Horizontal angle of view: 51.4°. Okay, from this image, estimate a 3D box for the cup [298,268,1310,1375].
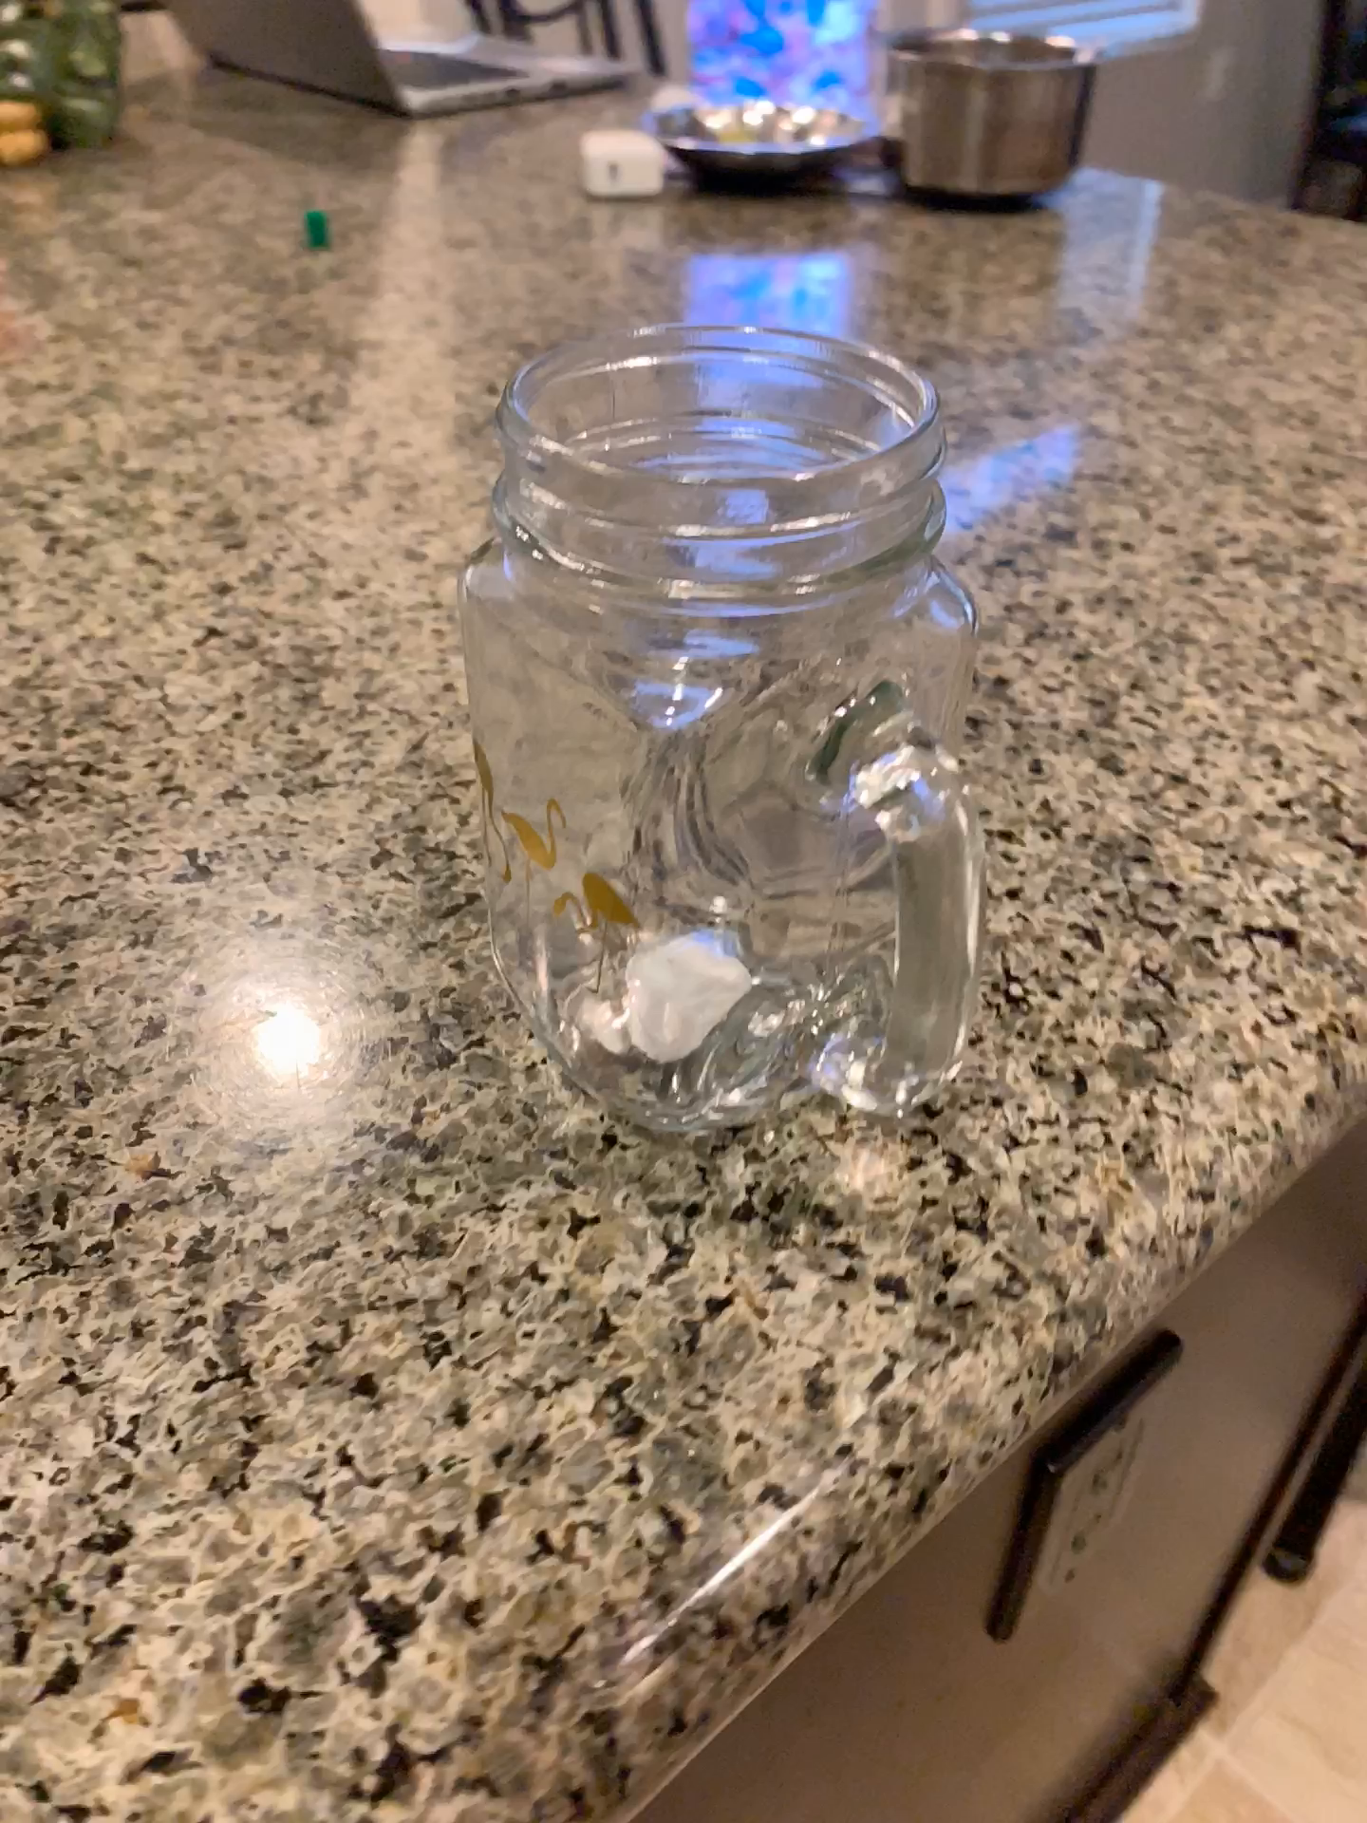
[{"bbox_3d":[0.010,-0.022,0.233,0.080,0.119,0.121,-26,46,-28],"label":"cup"}]
